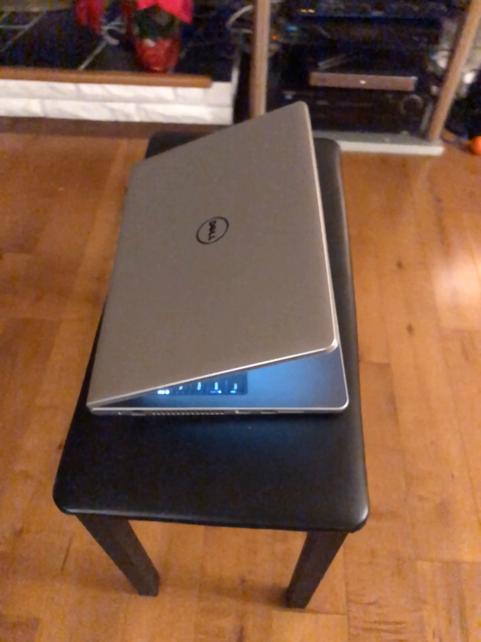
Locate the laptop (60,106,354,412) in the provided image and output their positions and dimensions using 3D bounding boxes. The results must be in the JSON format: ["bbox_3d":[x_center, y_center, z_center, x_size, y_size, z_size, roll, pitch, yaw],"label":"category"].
[{"bbox_3d":[-0.028,-0.090,0.602,0.247,0.107,0.367,-1,52,1],"label":"laptop"}]
